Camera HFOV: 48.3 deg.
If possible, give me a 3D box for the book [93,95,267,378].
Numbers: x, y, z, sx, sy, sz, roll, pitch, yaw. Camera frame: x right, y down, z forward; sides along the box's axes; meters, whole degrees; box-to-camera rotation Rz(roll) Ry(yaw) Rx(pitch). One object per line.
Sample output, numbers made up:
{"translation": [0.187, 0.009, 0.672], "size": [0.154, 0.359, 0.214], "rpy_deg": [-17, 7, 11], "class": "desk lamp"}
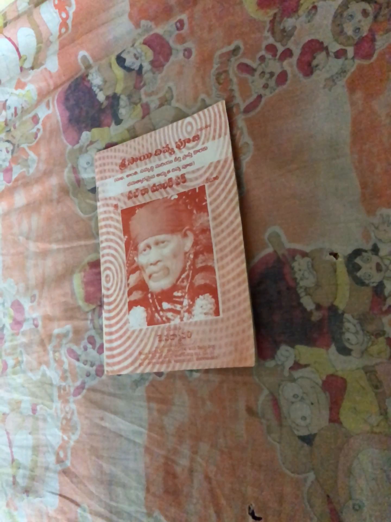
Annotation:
{"translation": [-0.019, -0.012, 0.298], "size": [0.120, 0.010, 0.173], "rpy_deg": [-11, 77, 29], "class": "book"}
